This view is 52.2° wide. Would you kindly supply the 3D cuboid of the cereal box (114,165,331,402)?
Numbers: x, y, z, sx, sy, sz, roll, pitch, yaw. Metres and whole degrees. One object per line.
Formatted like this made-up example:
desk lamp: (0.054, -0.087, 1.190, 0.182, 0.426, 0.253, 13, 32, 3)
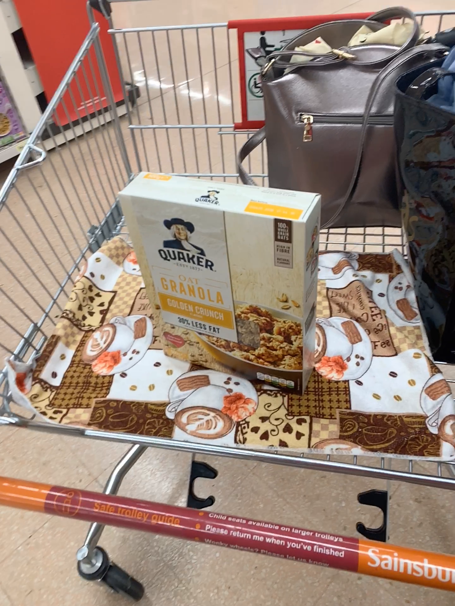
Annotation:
cereal box: (0.003, -0.013, 0.519, 0.200, 0.258, 0.050, 12, 46, 20)
